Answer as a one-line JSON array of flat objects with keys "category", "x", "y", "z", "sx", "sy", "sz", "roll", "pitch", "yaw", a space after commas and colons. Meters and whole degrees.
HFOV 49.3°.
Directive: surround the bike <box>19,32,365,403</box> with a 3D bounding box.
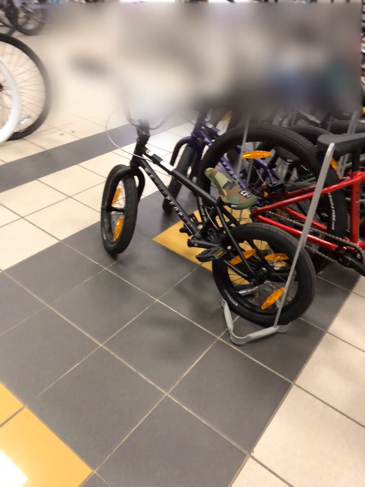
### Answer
[{"category": "bike", "x": 0.051, "y": -0.220, "z": 1.488, "sx": 1.073, "sy": 0.810, "sz": 0.679, "roll": 31, "pitch": 42, "yaw": 30}]
